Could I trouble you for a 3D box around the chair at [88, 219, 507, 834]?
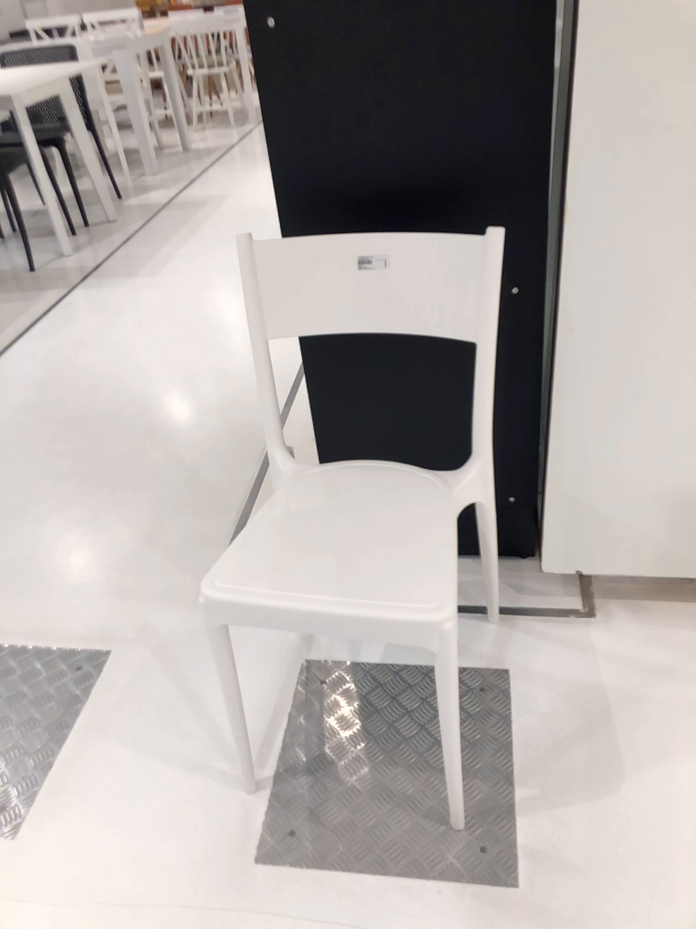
[{"bbox_3d":[0.014,0.090,1.156,0.410,0.764,0.483,3,35,14],"label":"chair"}]
